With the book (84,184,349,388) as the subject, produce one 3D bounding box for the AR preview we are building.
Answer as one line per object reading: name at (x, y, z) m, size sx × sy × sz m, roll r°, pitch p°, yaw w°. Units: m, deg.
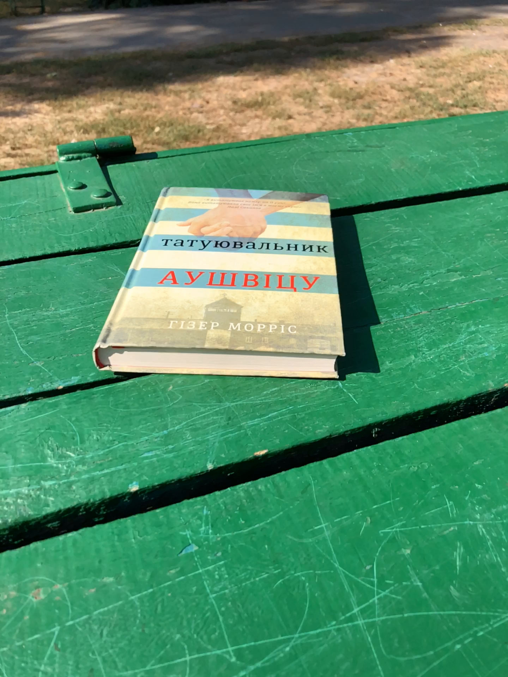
book at (-0.015, -0.052, 0.398) m, size 0.147 × 0.020 × 0.214 m, roll 4°, pitch 39°, yaw 1°
